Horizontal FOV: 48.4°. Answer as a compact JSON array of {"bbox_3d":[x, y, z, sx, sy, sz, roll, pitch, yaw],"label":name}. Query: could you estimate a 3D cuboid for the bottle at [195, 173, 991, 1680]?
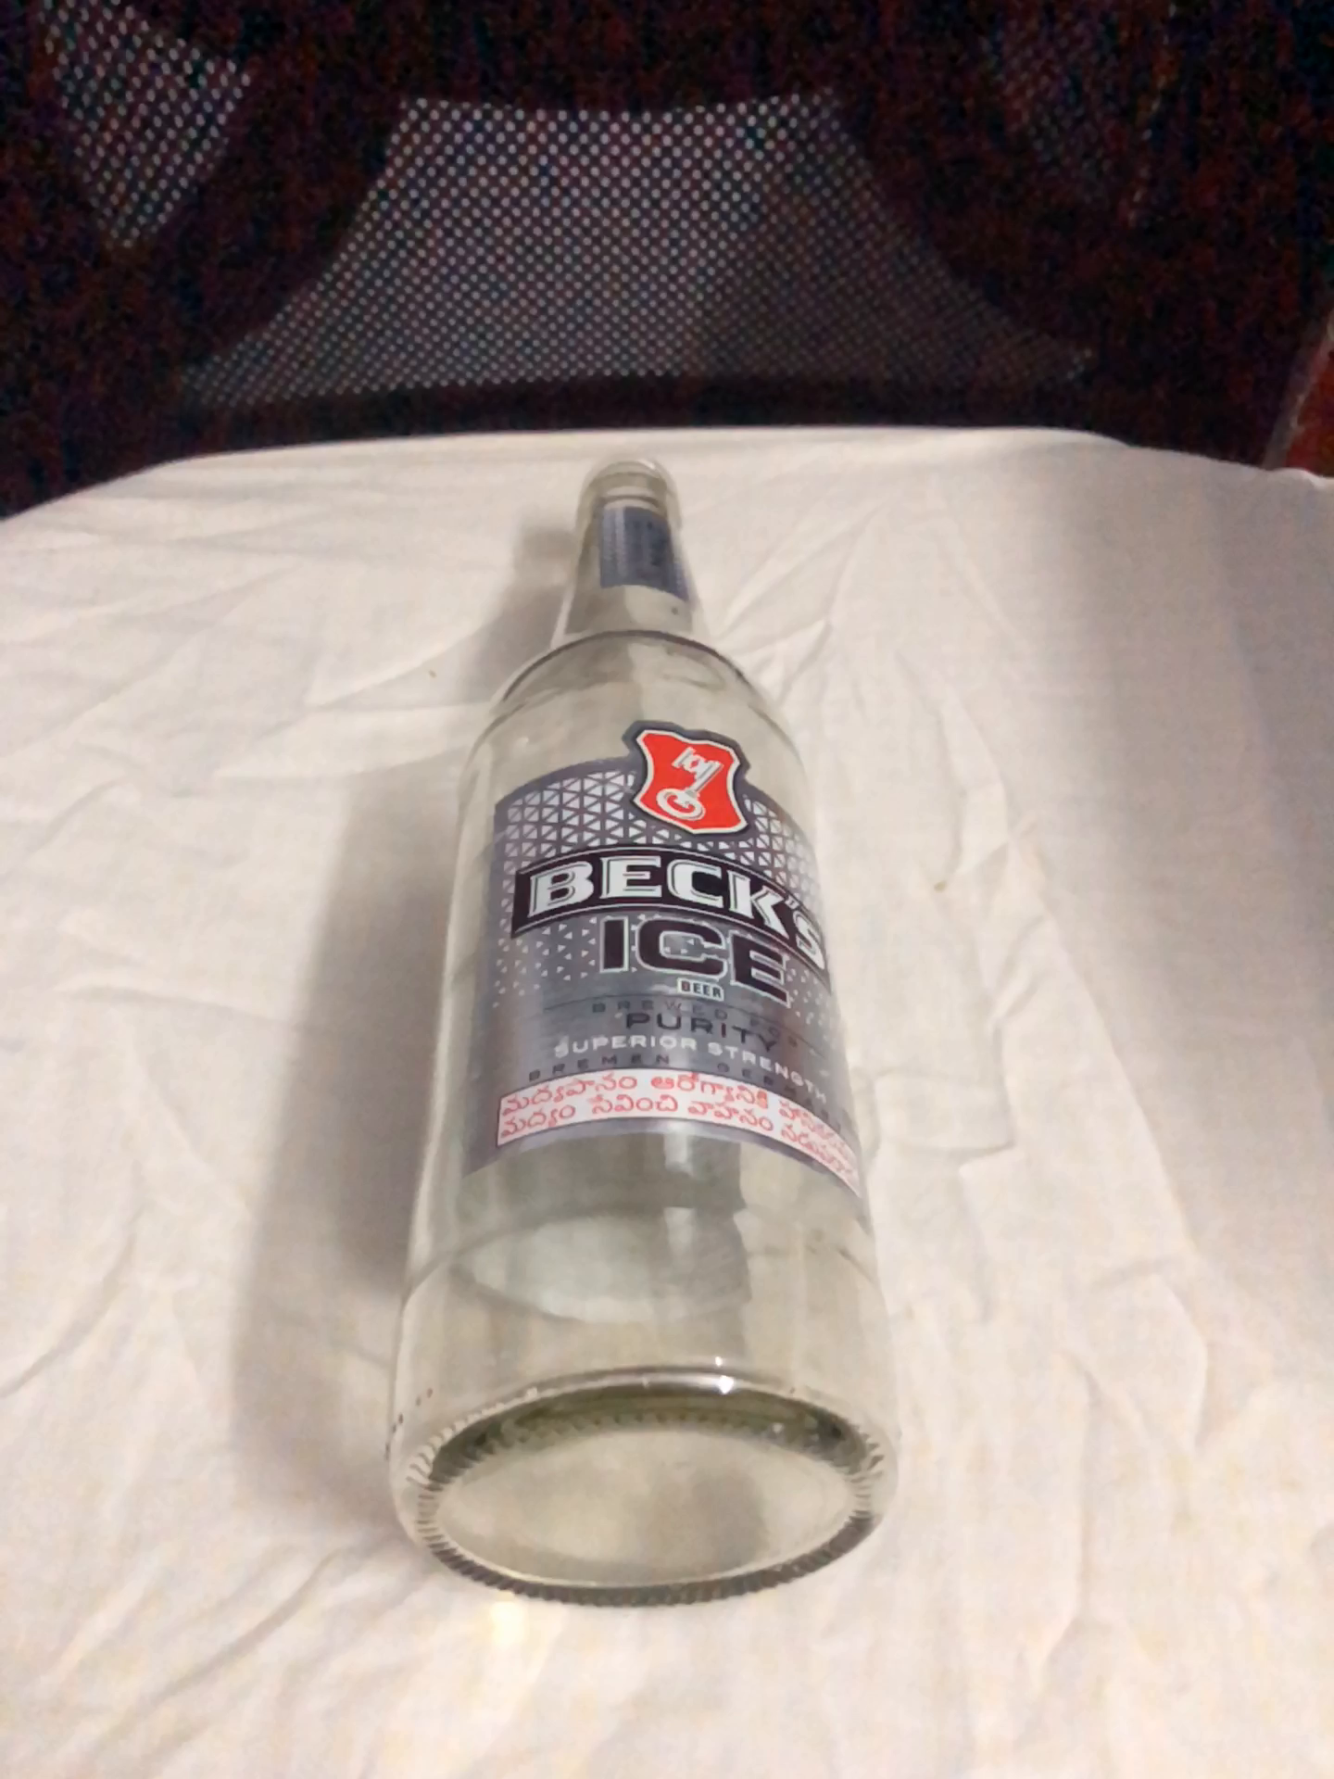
[{"bbox_3d":[-0.013,-0.023,0.269,0.080,0.080,0.281,-2,51,-1],"label":"bottle"}]
